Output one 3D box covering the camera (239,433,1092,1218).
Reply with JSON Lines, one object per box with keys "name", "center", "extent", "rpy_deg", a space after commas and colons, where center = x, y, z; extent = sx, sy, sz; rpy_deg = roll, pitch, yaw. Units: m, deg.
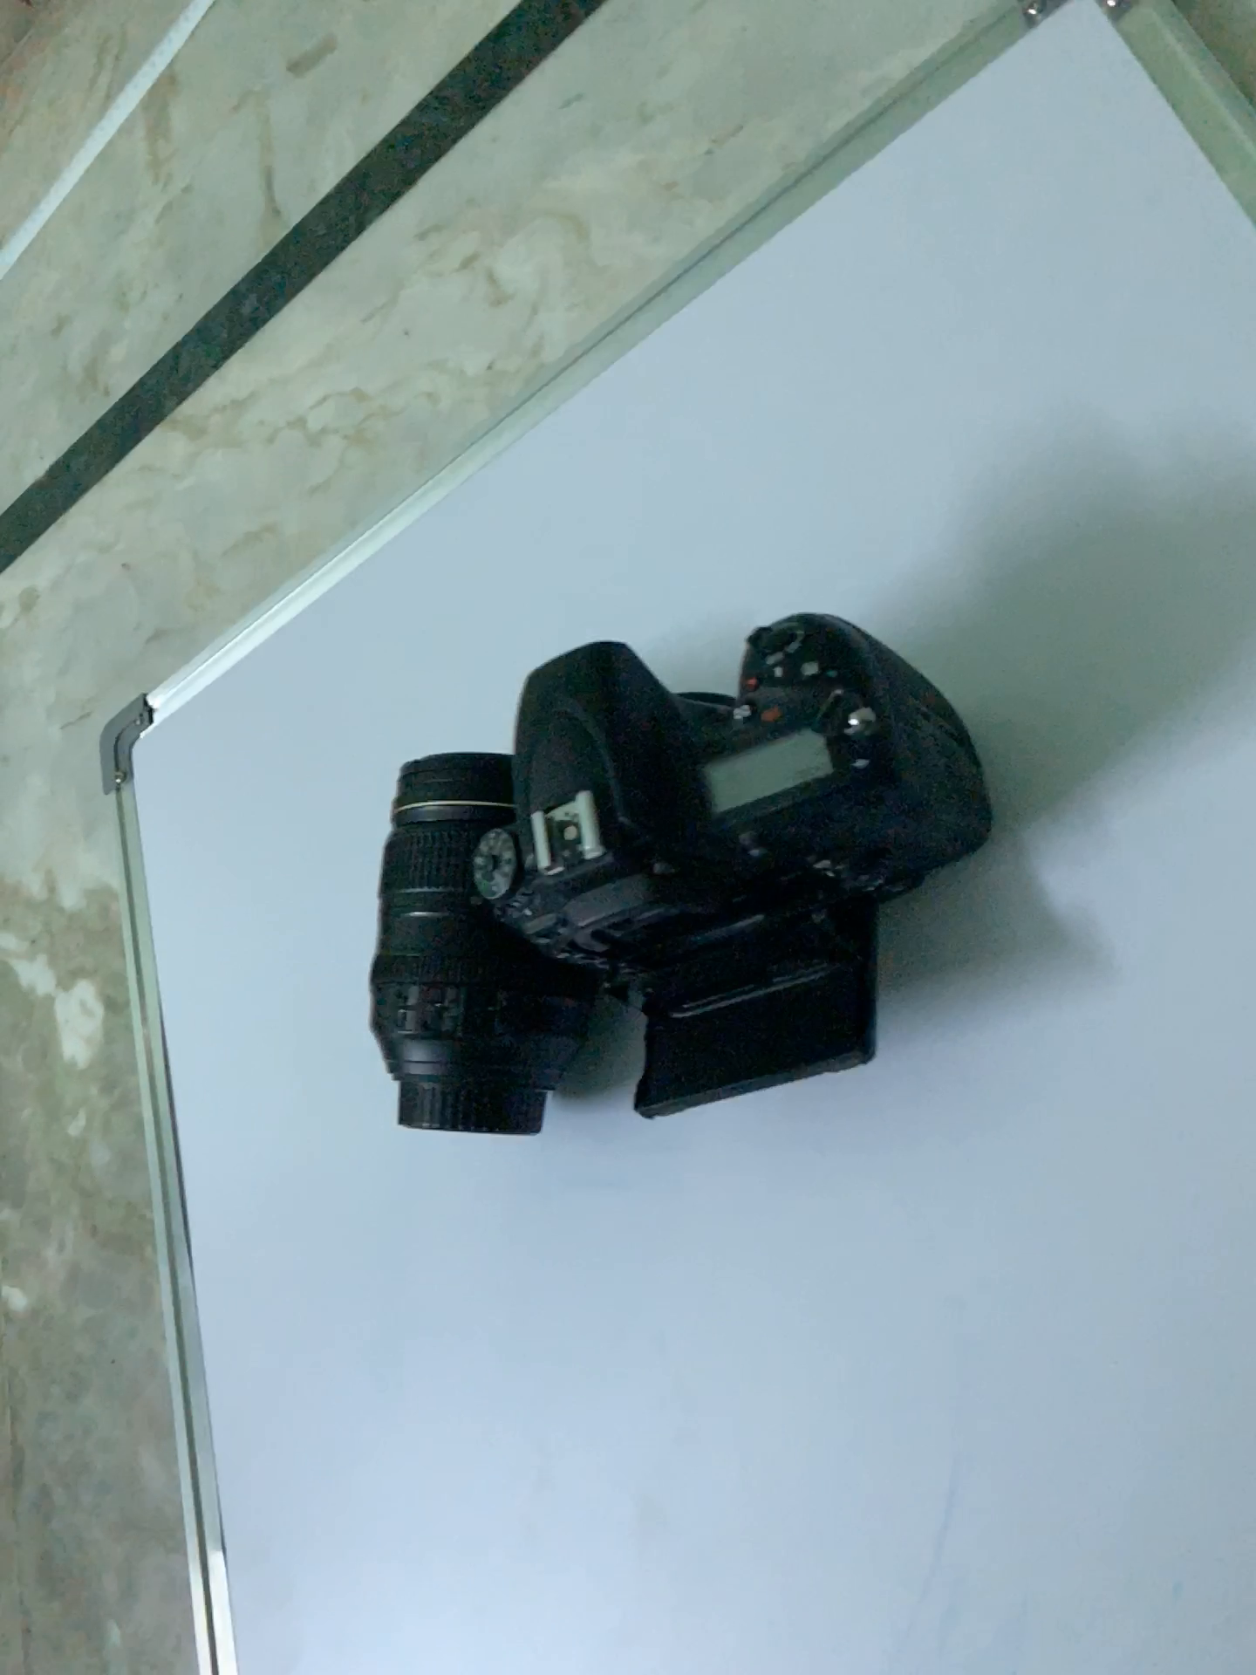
{"name": "camera", "center": [-0.004, 0.015, 0.427], "extent": [0.241, 0.099, 0.160], "rpy_deg": [-26, 63, 28]}
